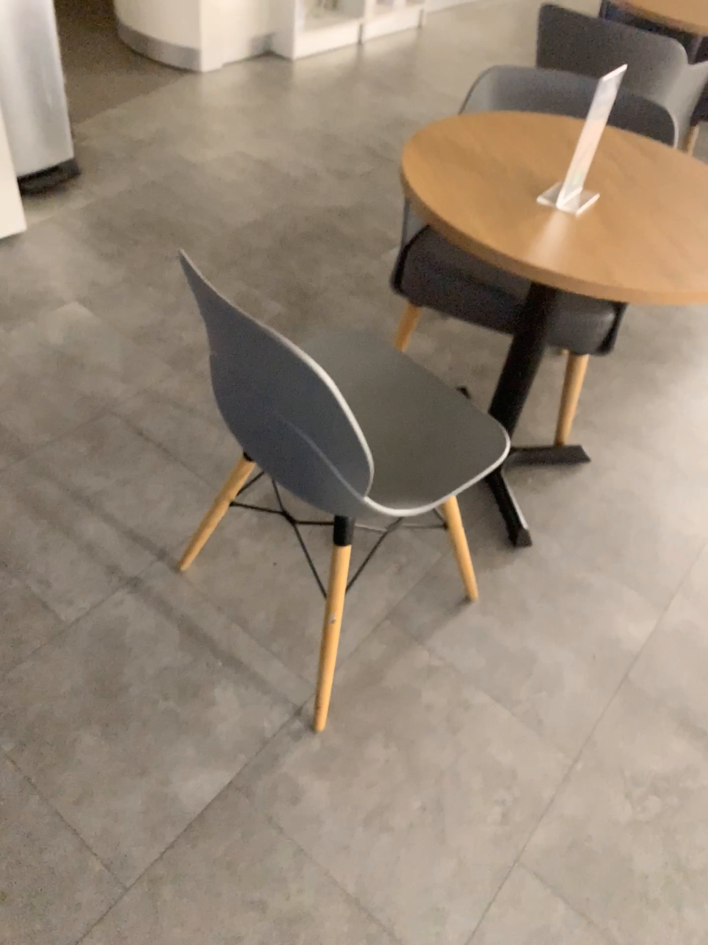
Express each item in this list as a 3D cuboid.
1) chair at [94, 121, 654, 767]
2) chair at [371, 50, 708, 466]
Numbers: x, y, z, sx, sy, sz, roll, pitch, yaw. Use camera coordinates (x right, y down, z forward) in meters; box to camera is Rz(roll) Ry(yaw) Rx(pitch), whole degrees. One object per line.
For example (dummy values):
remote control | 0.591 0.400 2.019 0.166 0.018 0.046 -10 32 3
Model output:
chair | -0.011 -0.036 1.221 0.522 0.802 0.507 -30 57 -32
chair | 0.445 -0.540 1.875 0.556 0.753 0.514 22 47 12
